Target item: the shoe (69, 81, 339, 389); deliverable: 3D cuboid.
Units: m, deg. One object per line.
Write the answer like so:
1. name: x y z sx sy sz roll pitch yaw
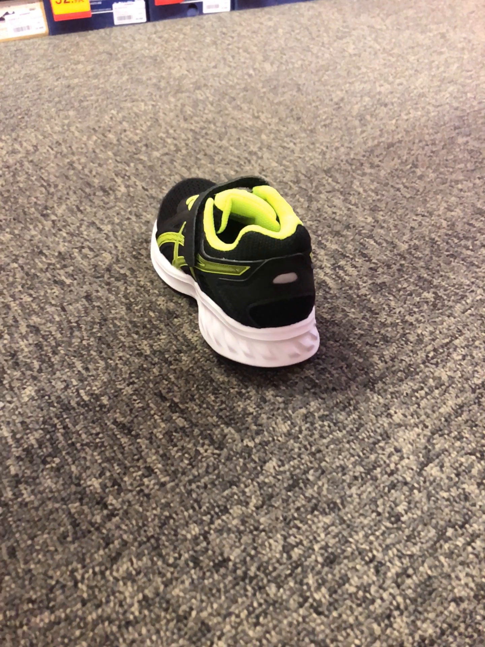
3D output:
1. shoe: -0.037 -0.070 0.329 0.090 0.079 0.201 -13 45 -19
